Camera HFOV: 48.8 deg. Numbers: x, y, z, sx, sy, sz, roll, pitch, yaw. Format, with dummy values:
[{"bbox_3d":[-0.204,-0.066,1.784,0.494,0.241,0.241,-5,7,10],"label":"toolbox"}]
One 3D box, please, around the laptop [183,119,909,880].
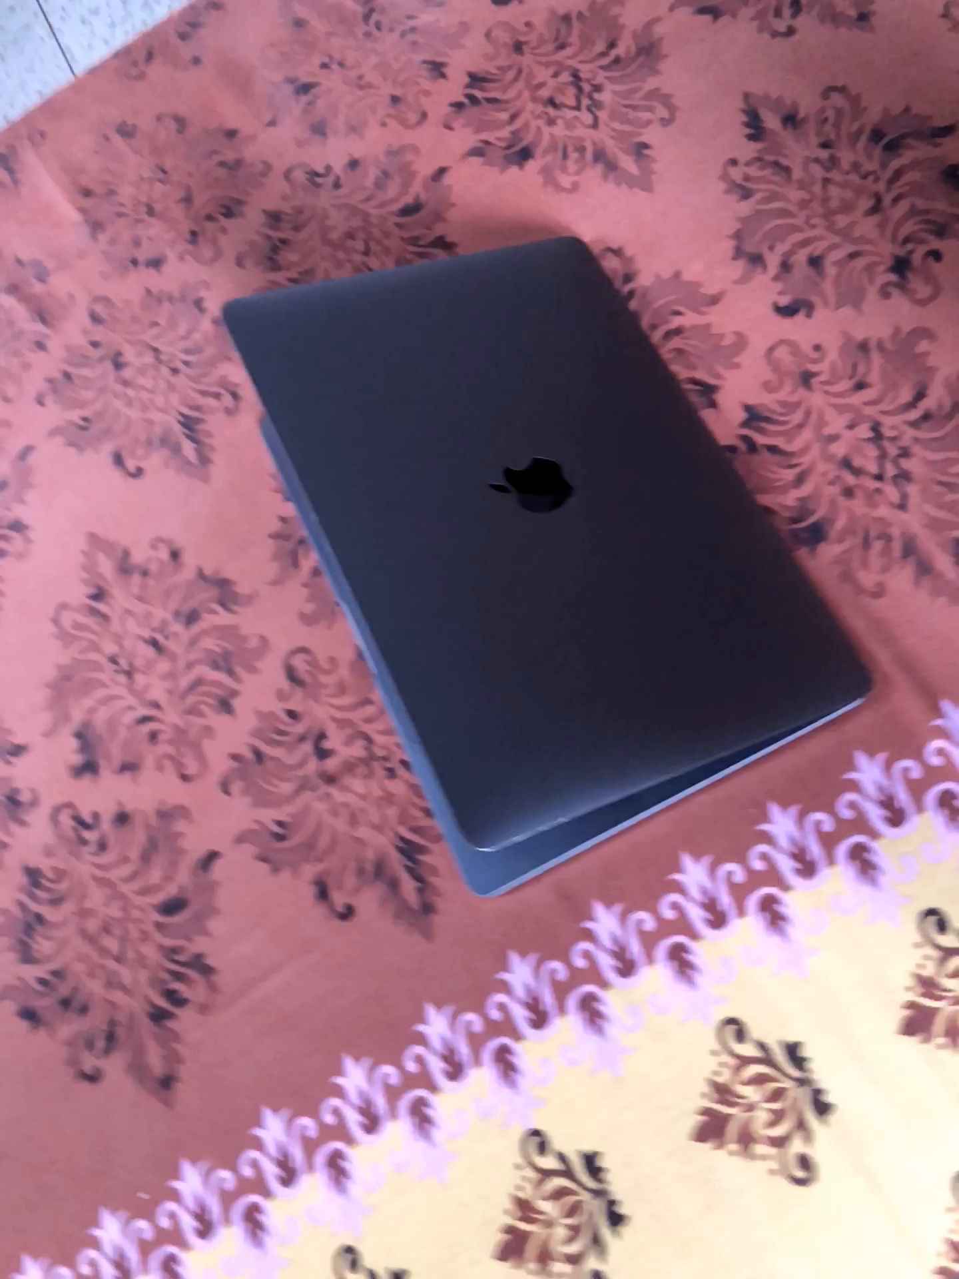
[{"bbox_3d":[0.018,-0.068,0.490,0.204,0.093,0.286,-28,67,3],"label":"laptop"}]
